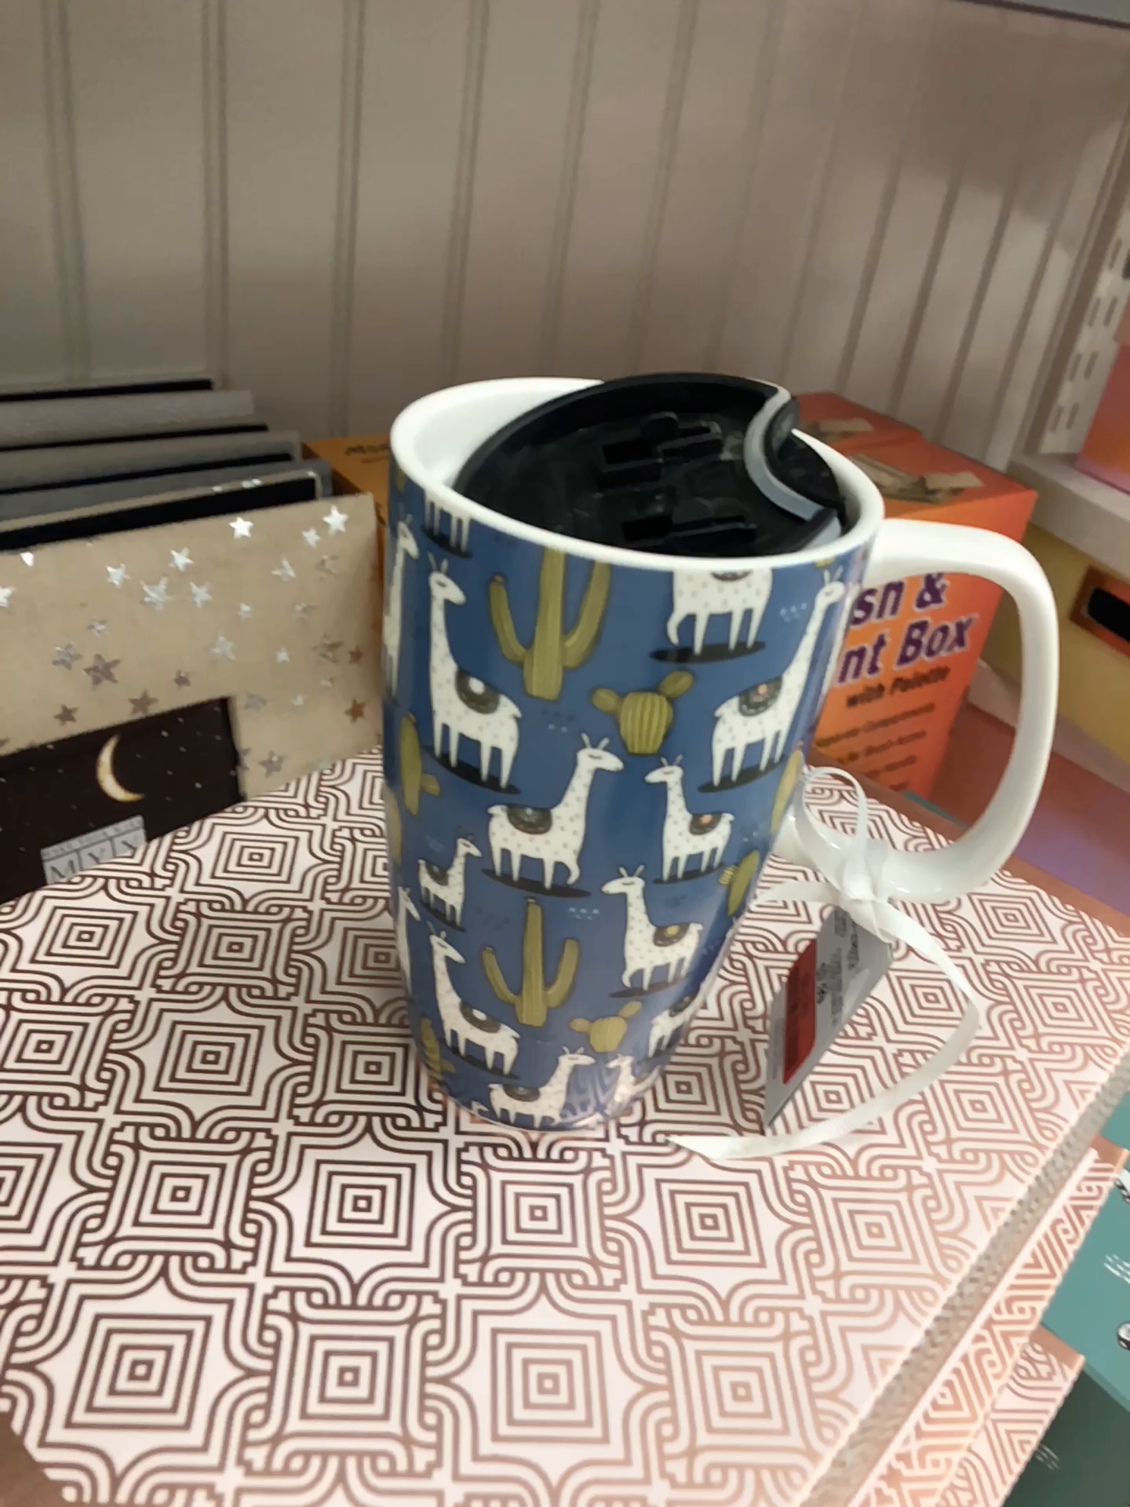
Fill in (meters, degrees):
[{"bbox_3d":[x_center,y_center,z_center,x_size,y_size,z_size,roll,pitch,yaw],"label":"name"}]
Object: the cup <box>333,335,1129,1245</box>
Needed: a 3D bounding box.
[{"bbox_3d":[0.028,0.007,0.249,0.125,0.138,0.090,8,32,-1],"label":"cup"}]
